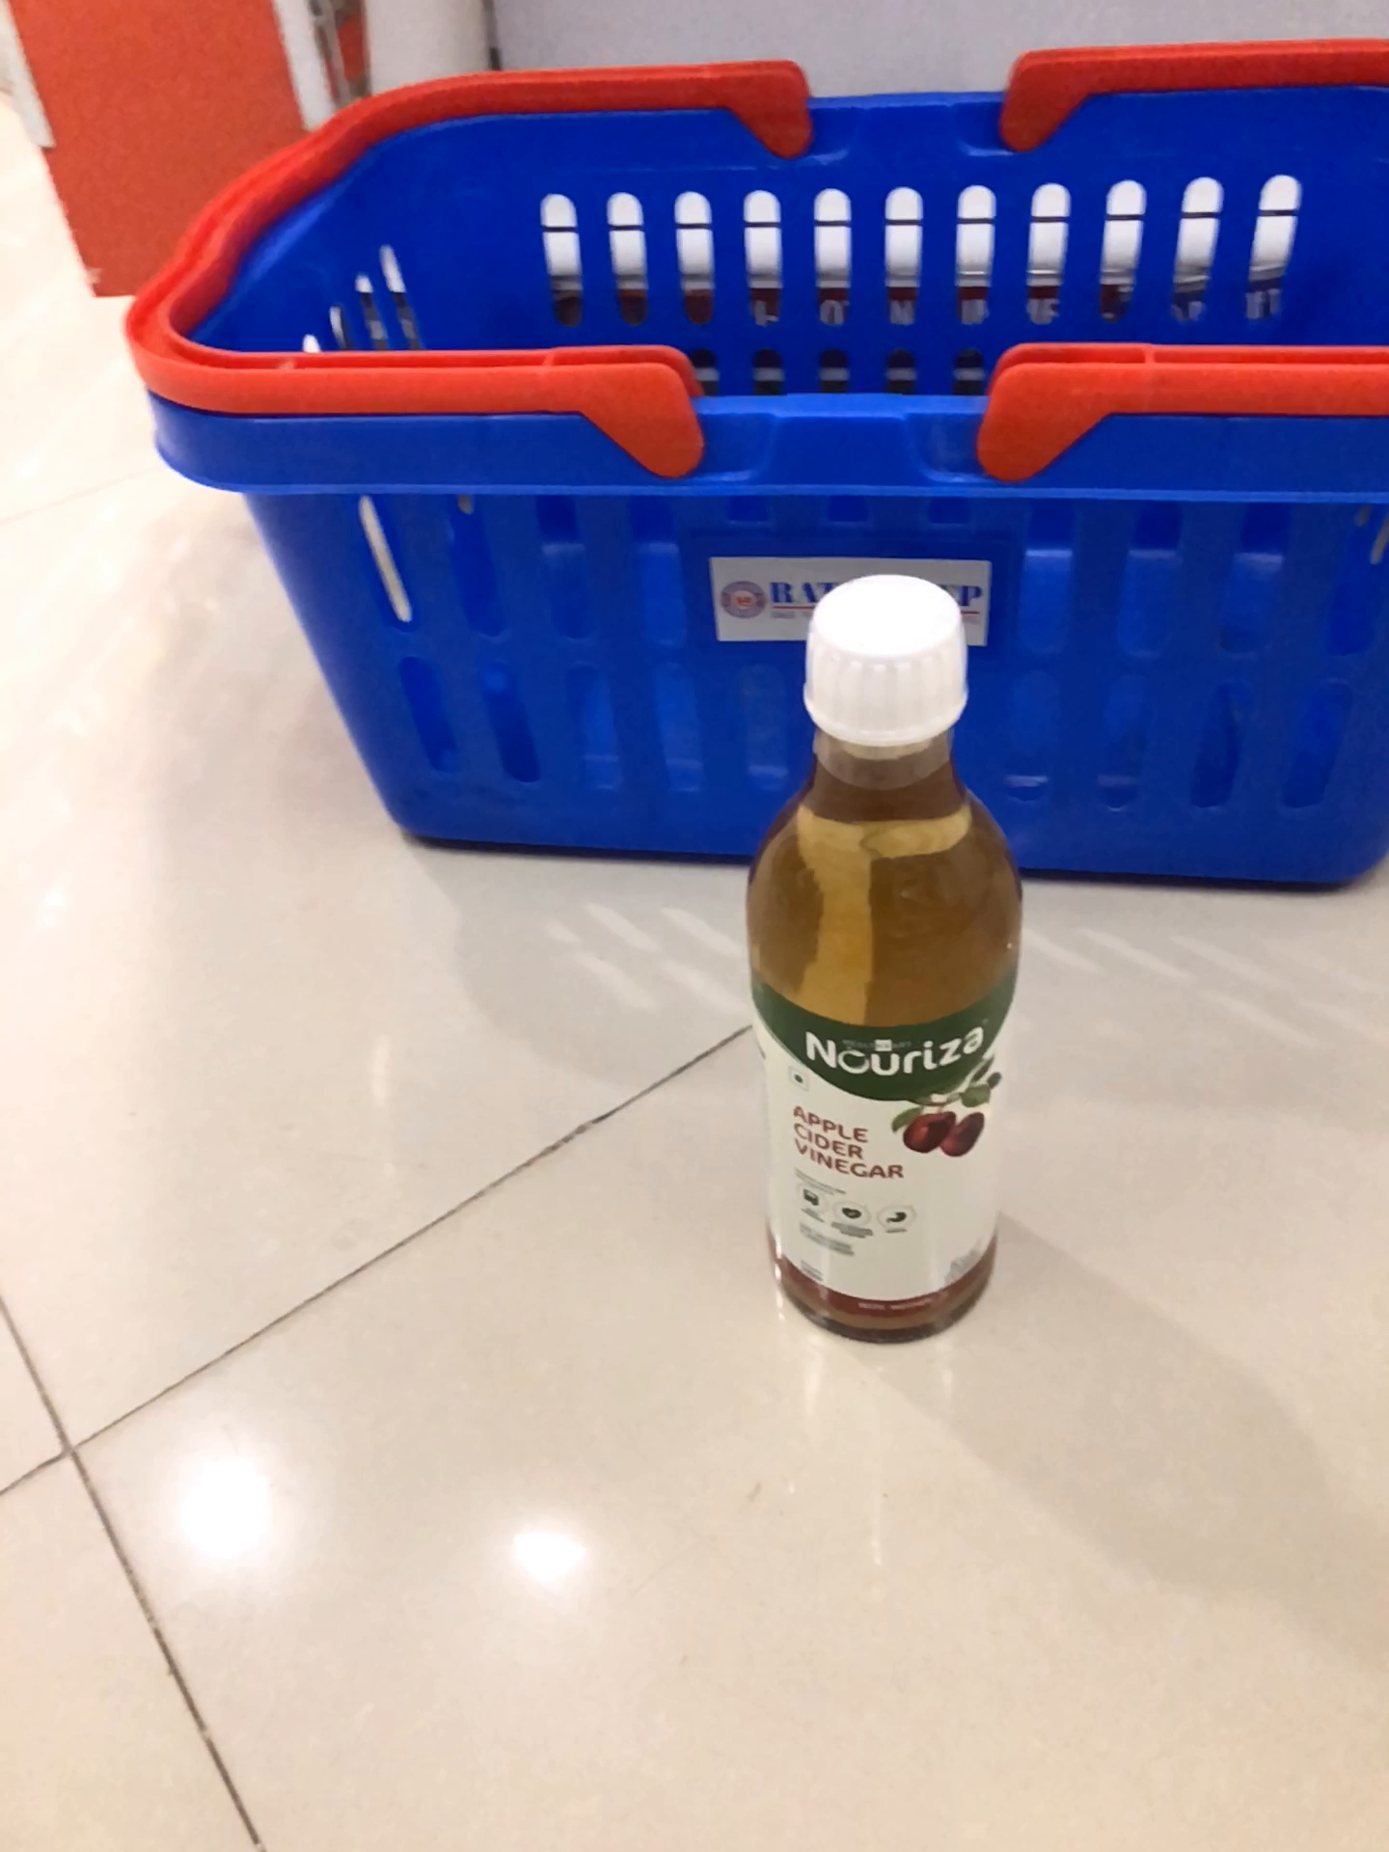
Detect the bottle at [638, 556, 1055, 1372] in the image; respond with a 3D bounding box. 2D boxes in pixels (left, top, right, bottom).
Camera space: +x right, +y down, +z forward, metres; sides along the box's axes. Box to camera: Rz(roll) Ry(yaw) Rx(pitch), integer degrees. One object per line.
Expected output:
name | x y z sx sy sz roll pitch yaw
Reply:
bottle | 0.042 0.021 0.393 0.080 0.219 0.070 1 43 9
